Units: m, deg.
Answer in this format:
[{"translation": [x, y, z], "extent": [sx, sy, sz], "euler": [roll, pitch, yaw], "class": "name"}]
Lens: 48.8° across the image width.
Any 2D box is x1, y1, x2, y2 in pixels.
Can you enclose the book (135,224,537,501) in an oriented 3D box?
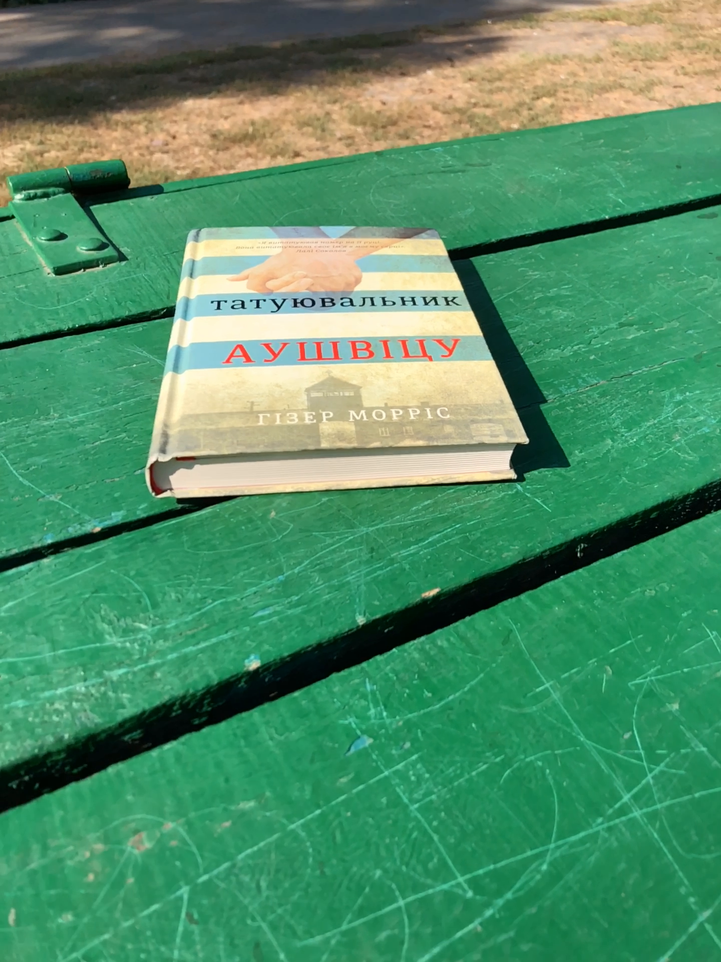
[{"translation": [-0.018, -0.070, 0.378], "extent": [0.147, 0.020, 0.214], "euler": [-1, 40, -6], "class": "book"}]
